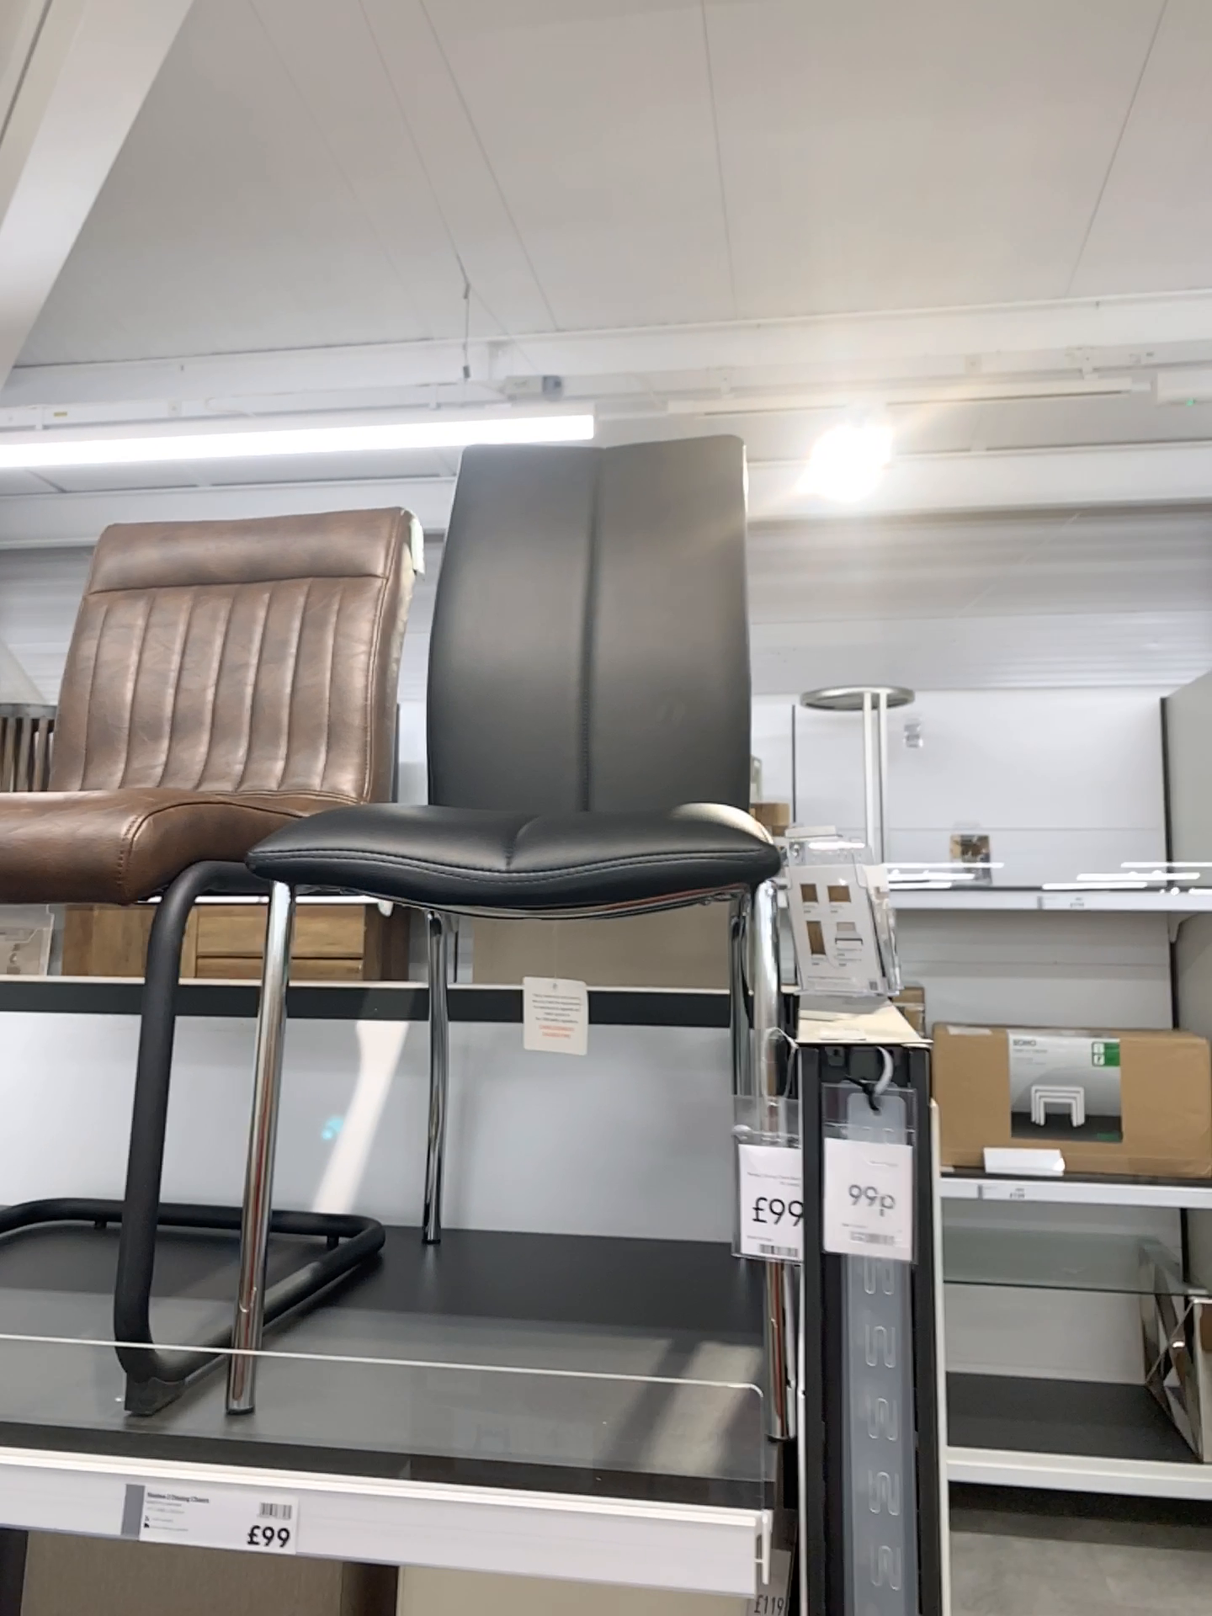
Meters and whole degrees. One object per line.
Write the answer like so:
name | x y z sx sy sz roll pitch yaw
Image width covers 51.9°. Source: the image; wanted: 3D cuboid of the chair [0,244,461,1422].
chair | -0.514 0.023 1.272 0.554 0.886 0.582 -1 -6 11

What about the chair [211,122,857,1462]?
chair | -0.015 -0.016 1.239 0.474 0.996 0.582 0 -6 8
